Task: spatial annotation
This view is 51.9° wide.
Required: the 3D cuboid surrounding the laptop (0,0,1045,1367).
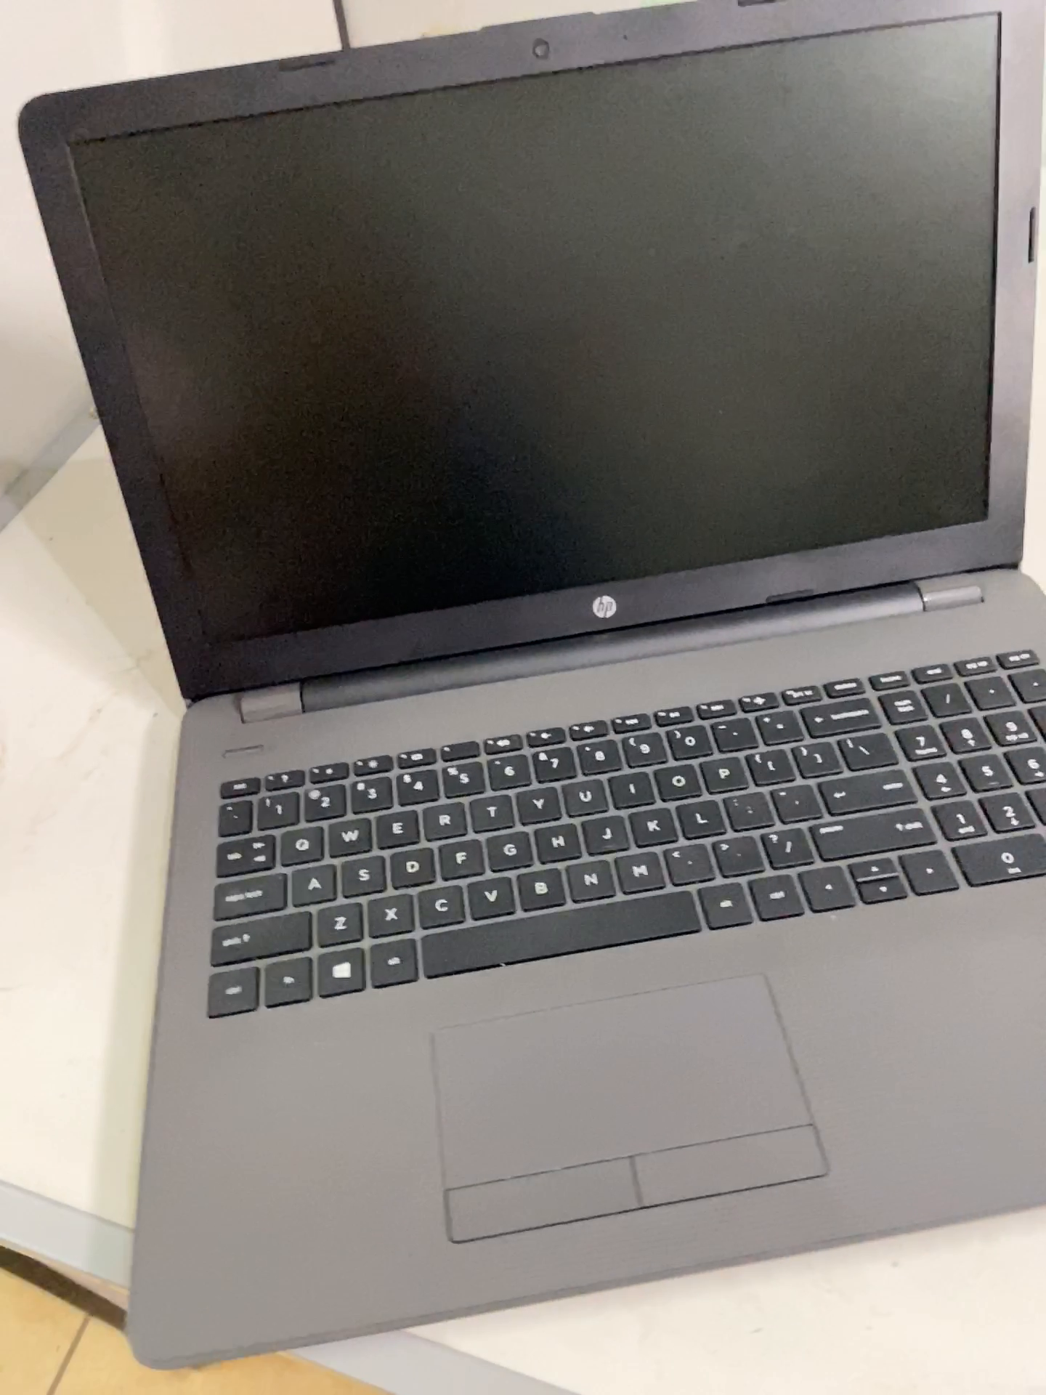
[{"bbox_3d":[0.039,-0.041,0.357,0.380,0.206,0.366,-10,50,-2],"label":"laptop"}]
